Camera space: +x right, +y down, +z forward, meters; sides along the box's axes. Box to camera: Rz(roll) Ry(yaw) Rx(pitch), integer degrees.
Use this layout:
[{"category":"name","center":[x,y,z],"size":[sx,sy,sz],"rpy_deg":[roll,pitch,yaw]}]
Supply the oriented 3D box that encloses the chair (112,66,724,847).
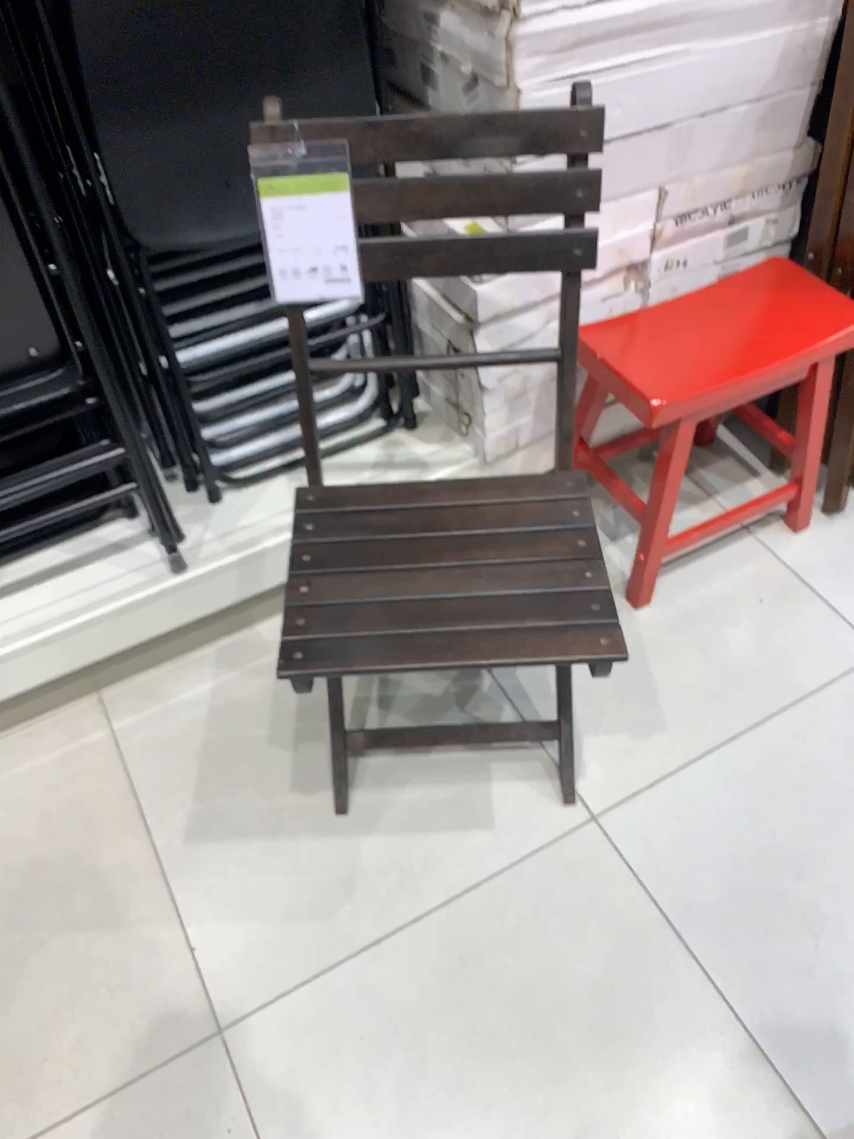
[{"category":"chair","center":[0.000,-0.073,1.061],"size":[0.420,0.798,0.481],"rpy_deg":[-2,49,0]}]
